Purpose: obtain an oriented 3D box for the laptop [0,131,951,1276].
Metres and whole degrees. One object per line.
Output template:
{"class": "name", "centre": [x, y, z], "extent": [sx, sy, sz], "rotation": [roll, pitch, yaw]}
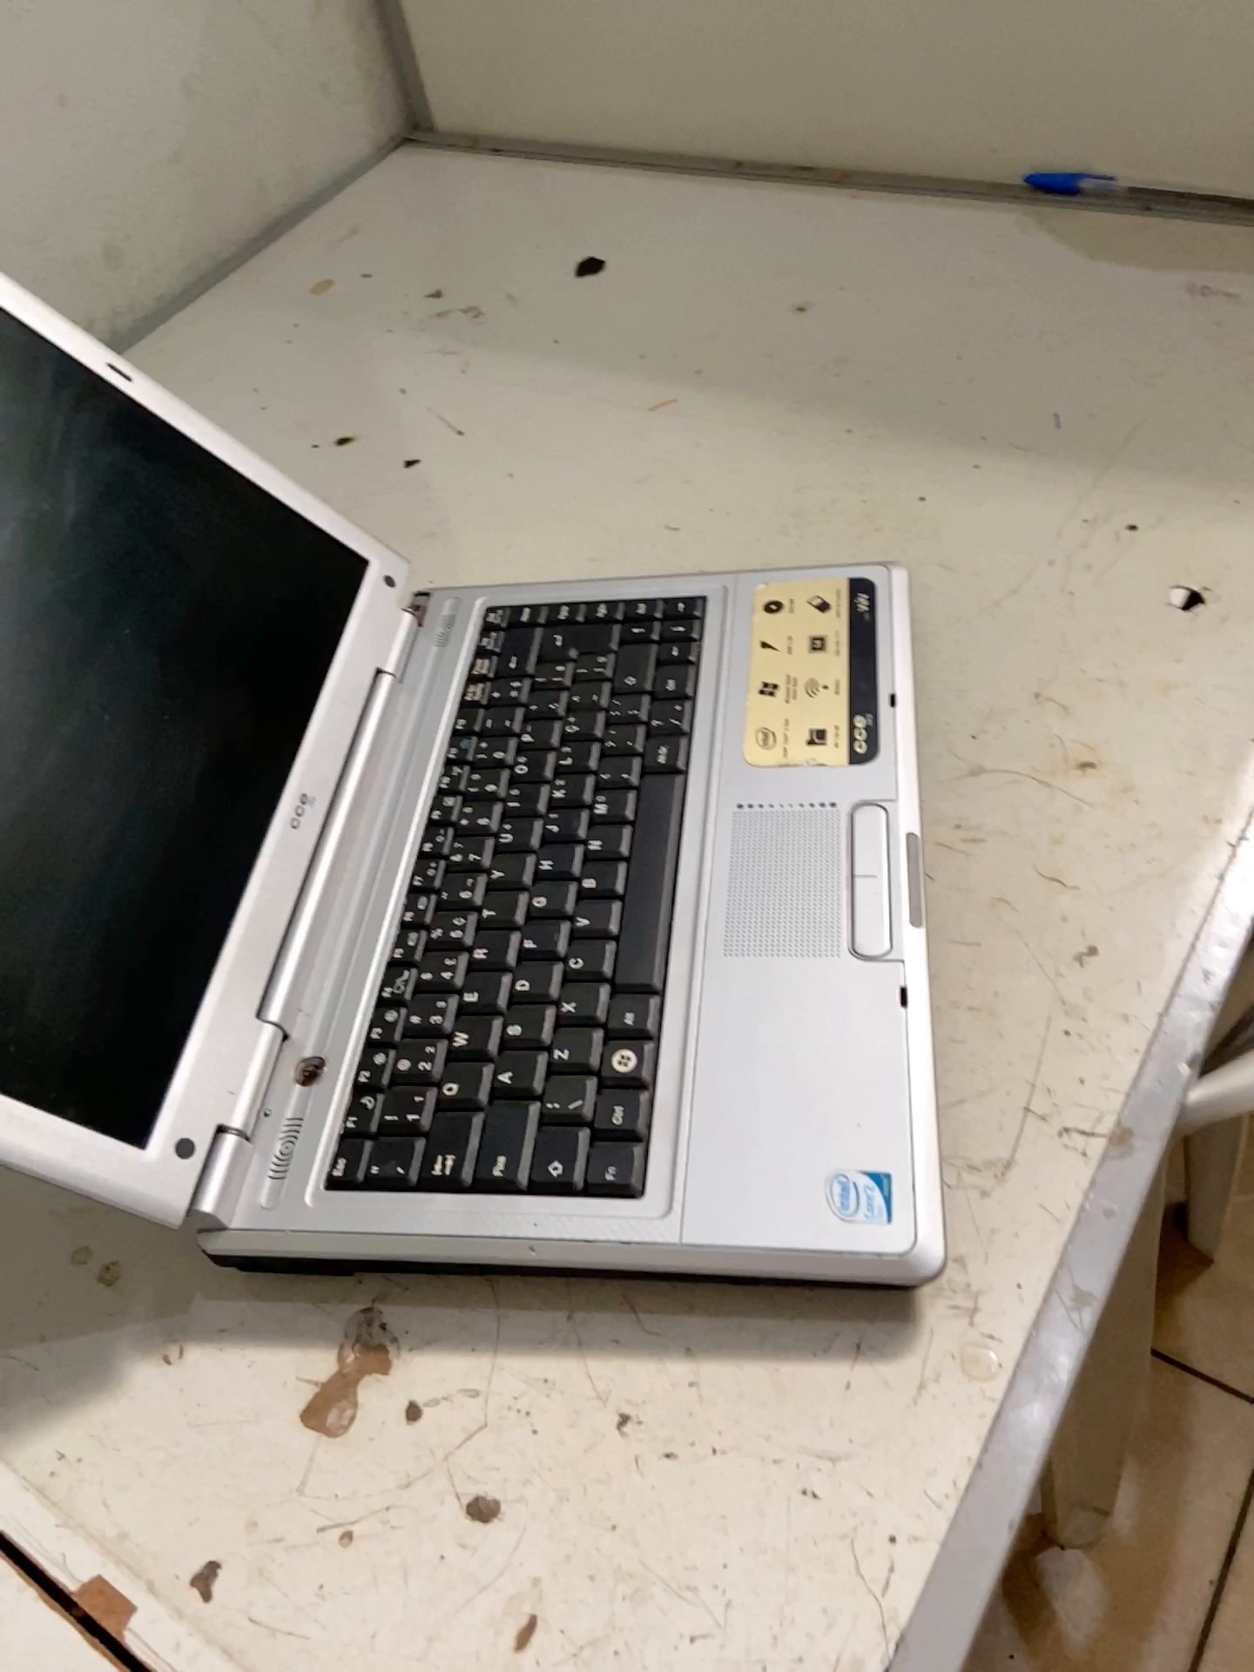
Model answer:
{"class": "laptop", "centre": [-0.094, -0.058, 0.456], "extent": [0.387, 0.190, 0.340], "rotation": [-1, 49, 11]}
